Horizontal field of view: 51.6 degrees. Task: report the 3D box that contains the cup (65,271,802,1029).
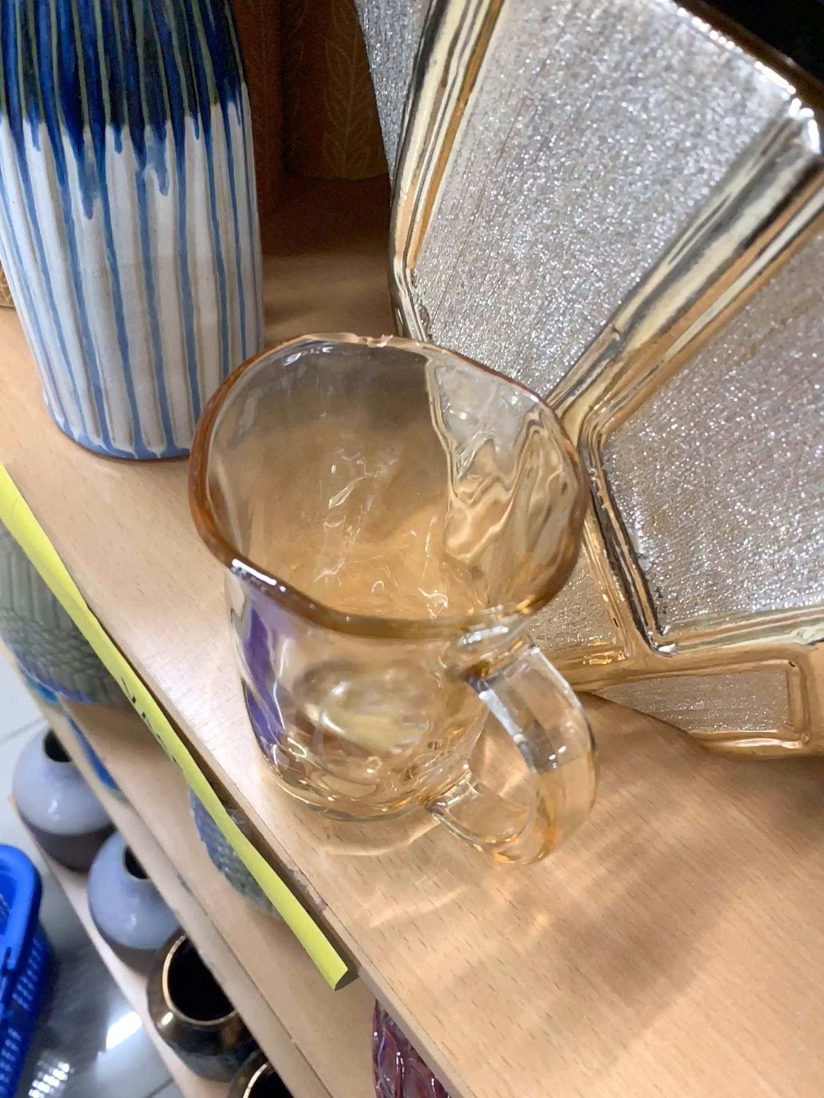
[{"bbox_3d":[-0.004,0.021,0.190,0.080,0.100,0.110,-30,62,-27],"label":"cup"}]
